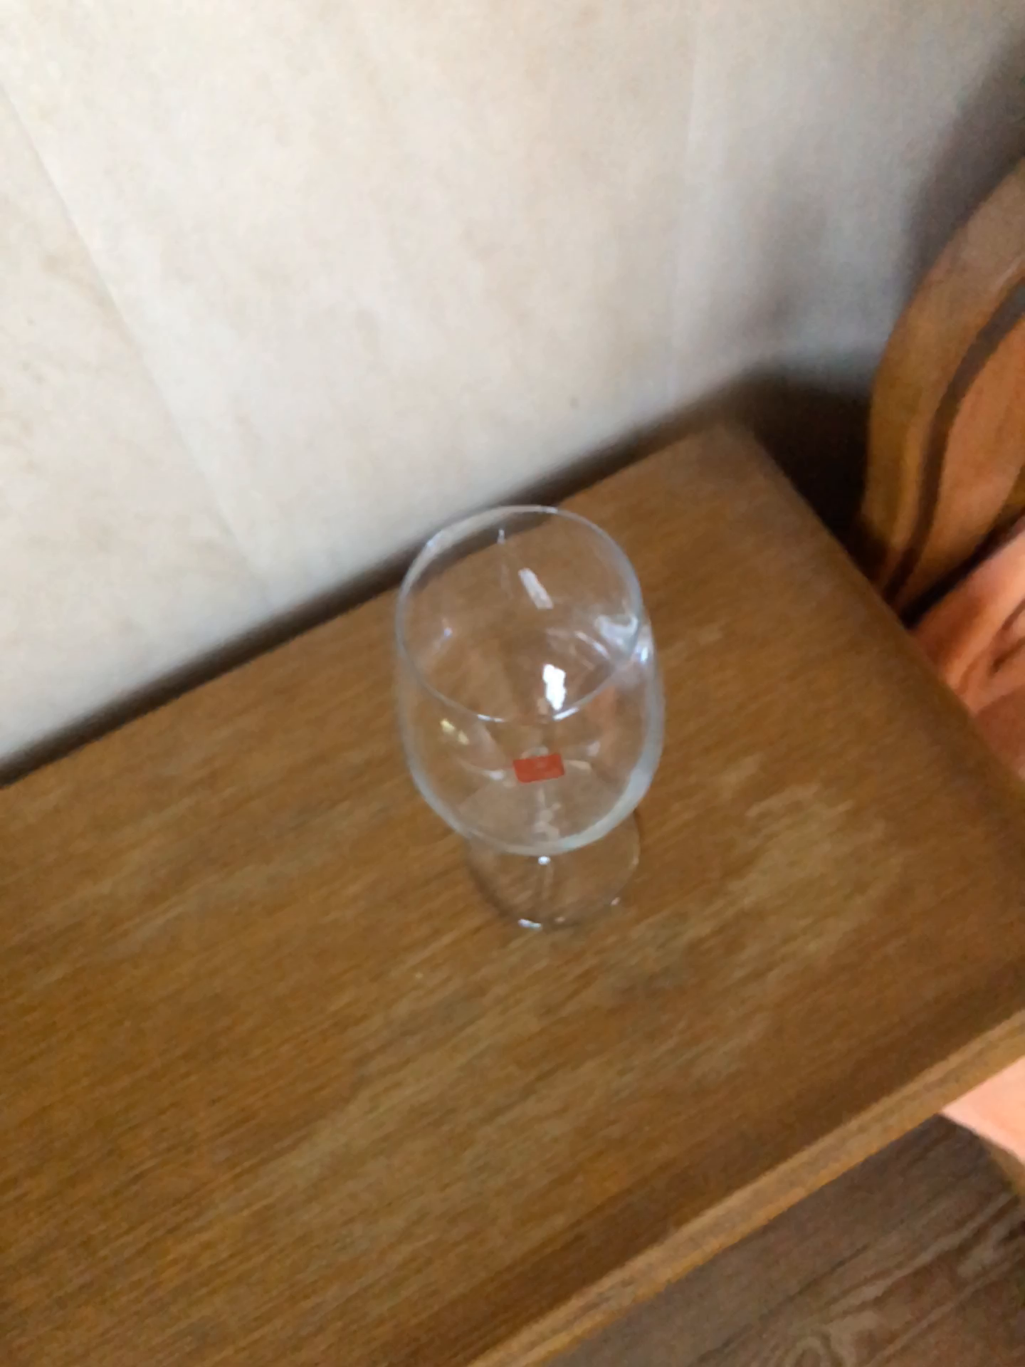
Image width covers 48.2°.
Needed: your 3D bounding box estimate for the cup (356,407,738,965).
[{"bbox_3d":[0.013,0.021,0.409,0.090,0.229,0.100,-7,64,1],"label":"cup"}]
